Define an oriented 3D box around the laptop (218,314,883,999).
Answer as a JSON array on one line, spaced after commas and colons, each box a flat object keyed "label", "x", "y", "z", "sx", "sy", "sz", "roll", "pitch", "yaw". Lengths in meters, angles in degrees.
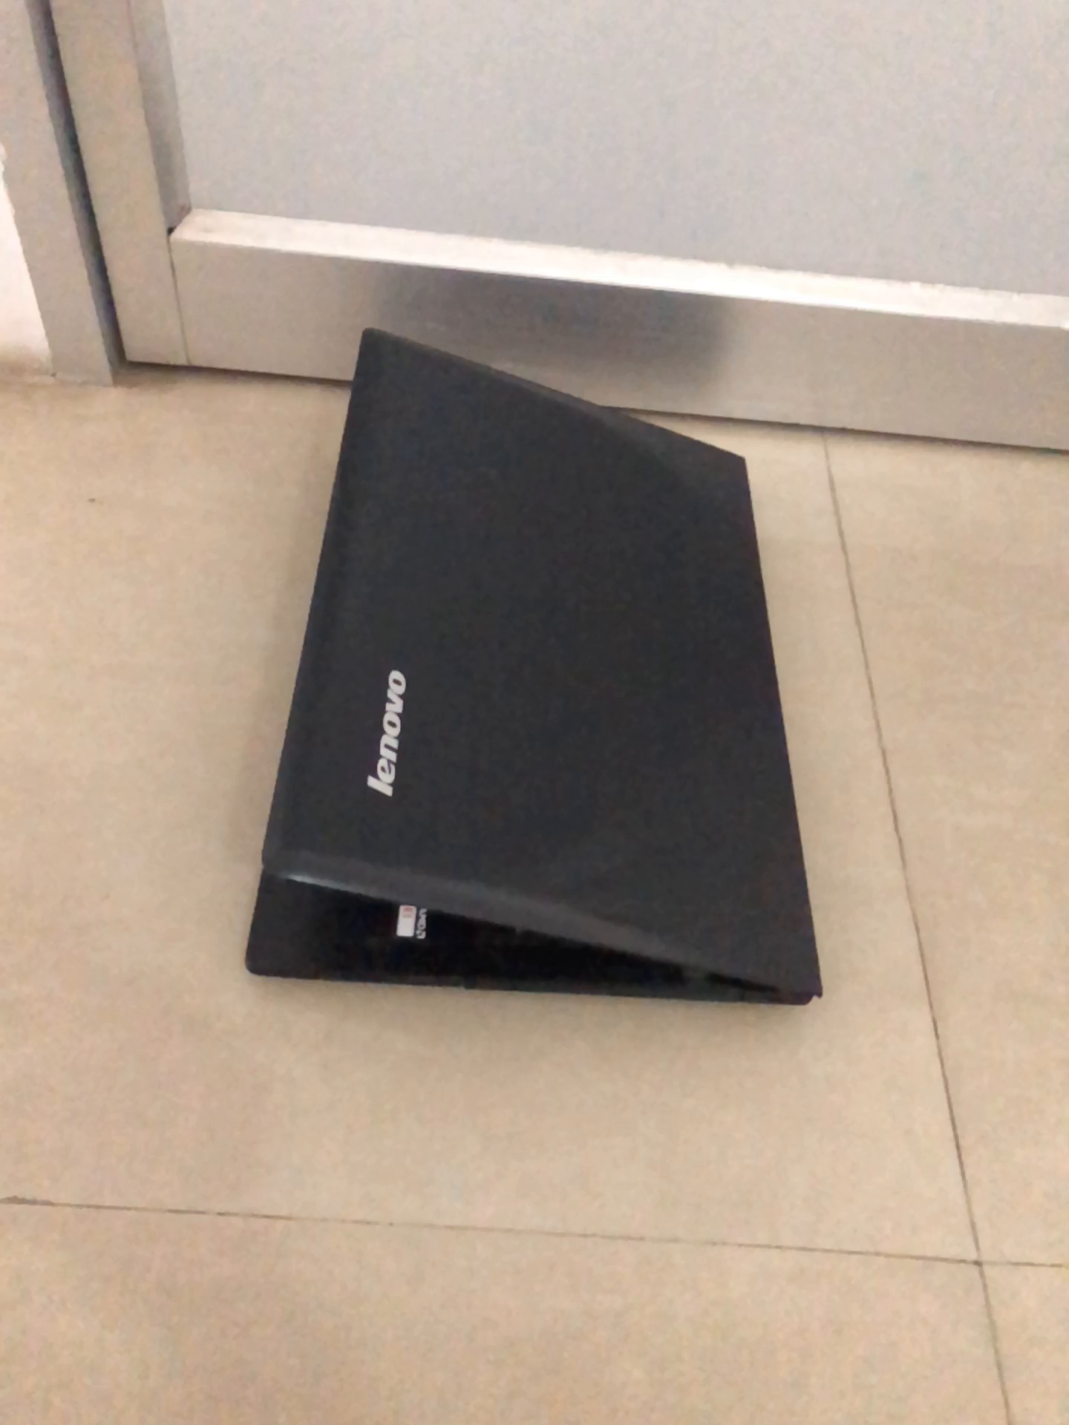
[{"label": "laptop", "x": 0.008, "y": -0.048, "z": 0.609, "sx": 0.257, "sy": 0.097, "sz": 0.368, "roll": 4, "pitch": 51, "yaw": -4}]
